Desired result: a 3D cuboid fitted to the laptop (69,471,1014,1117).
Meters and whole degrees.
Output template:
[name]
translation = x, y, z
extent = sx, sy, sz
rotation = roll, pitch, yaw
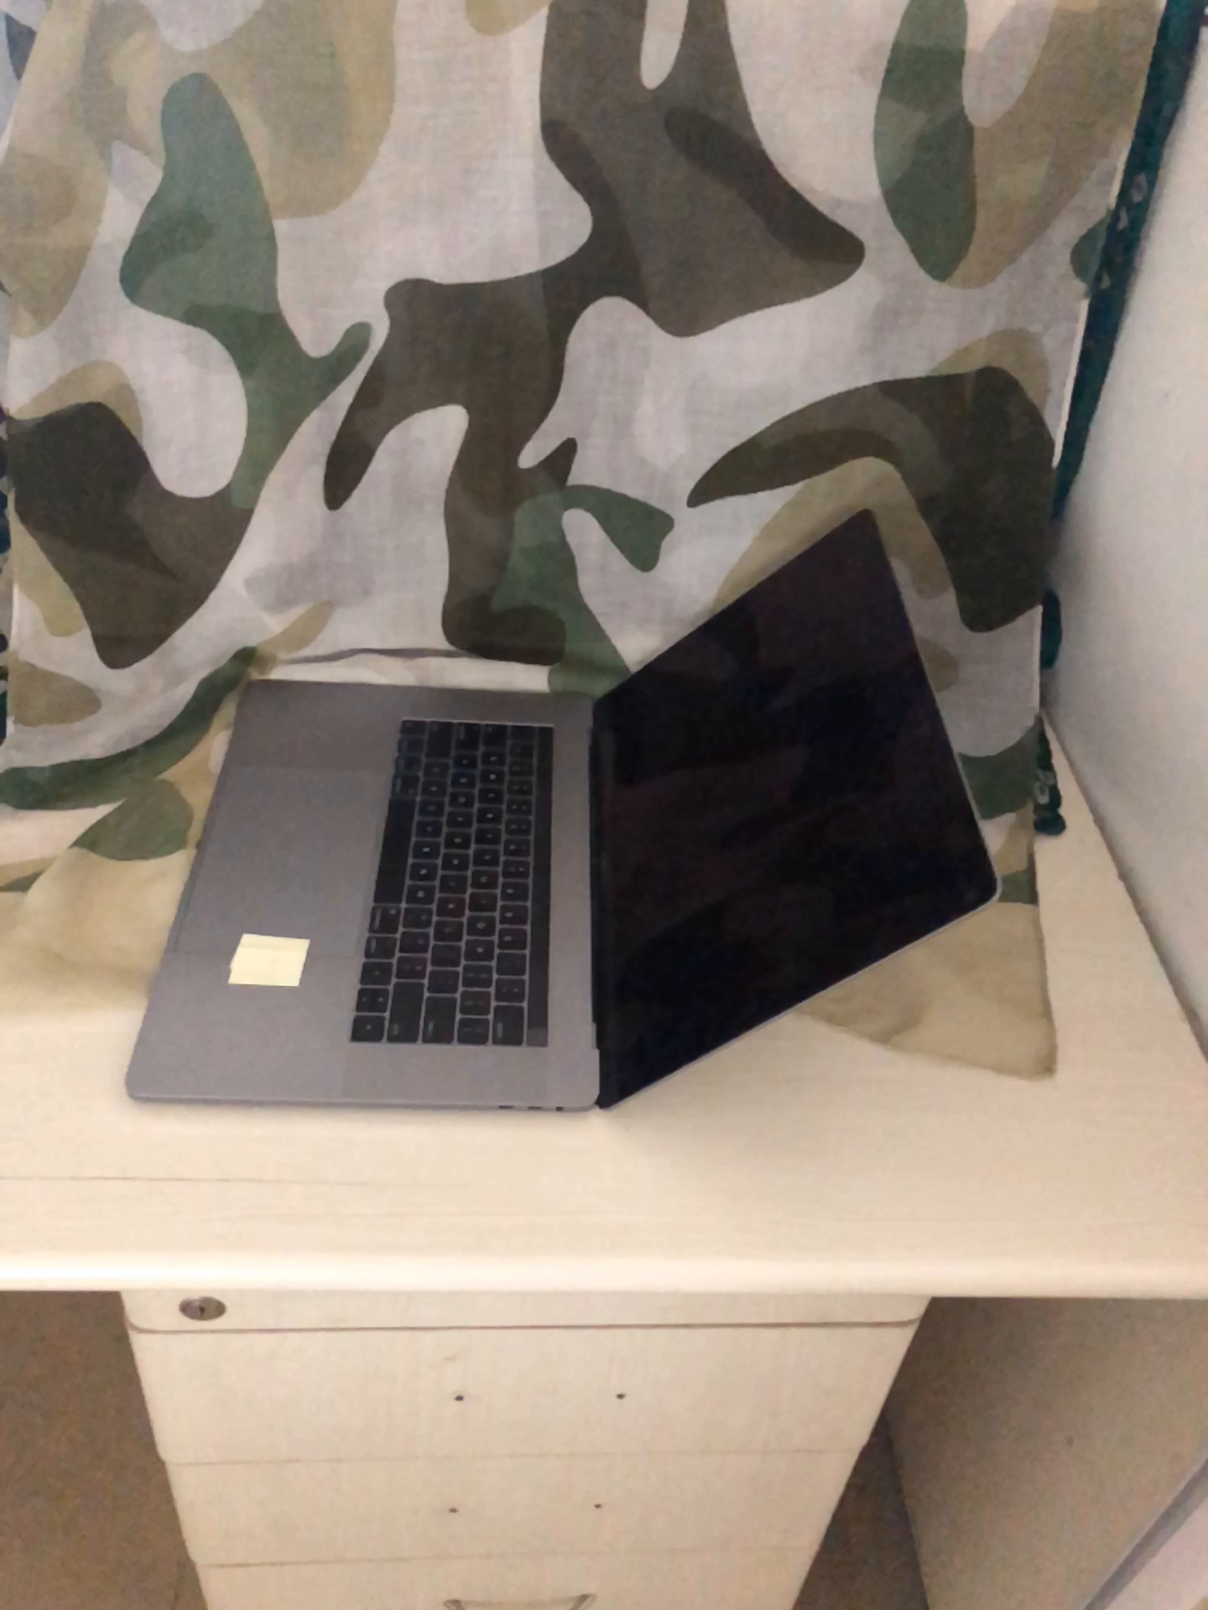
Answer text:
[laptop]
translation = -0.035, -0.023, 0.748
extent = 0.402, 0.165, 0.343
rotation = 2, 40, -3
